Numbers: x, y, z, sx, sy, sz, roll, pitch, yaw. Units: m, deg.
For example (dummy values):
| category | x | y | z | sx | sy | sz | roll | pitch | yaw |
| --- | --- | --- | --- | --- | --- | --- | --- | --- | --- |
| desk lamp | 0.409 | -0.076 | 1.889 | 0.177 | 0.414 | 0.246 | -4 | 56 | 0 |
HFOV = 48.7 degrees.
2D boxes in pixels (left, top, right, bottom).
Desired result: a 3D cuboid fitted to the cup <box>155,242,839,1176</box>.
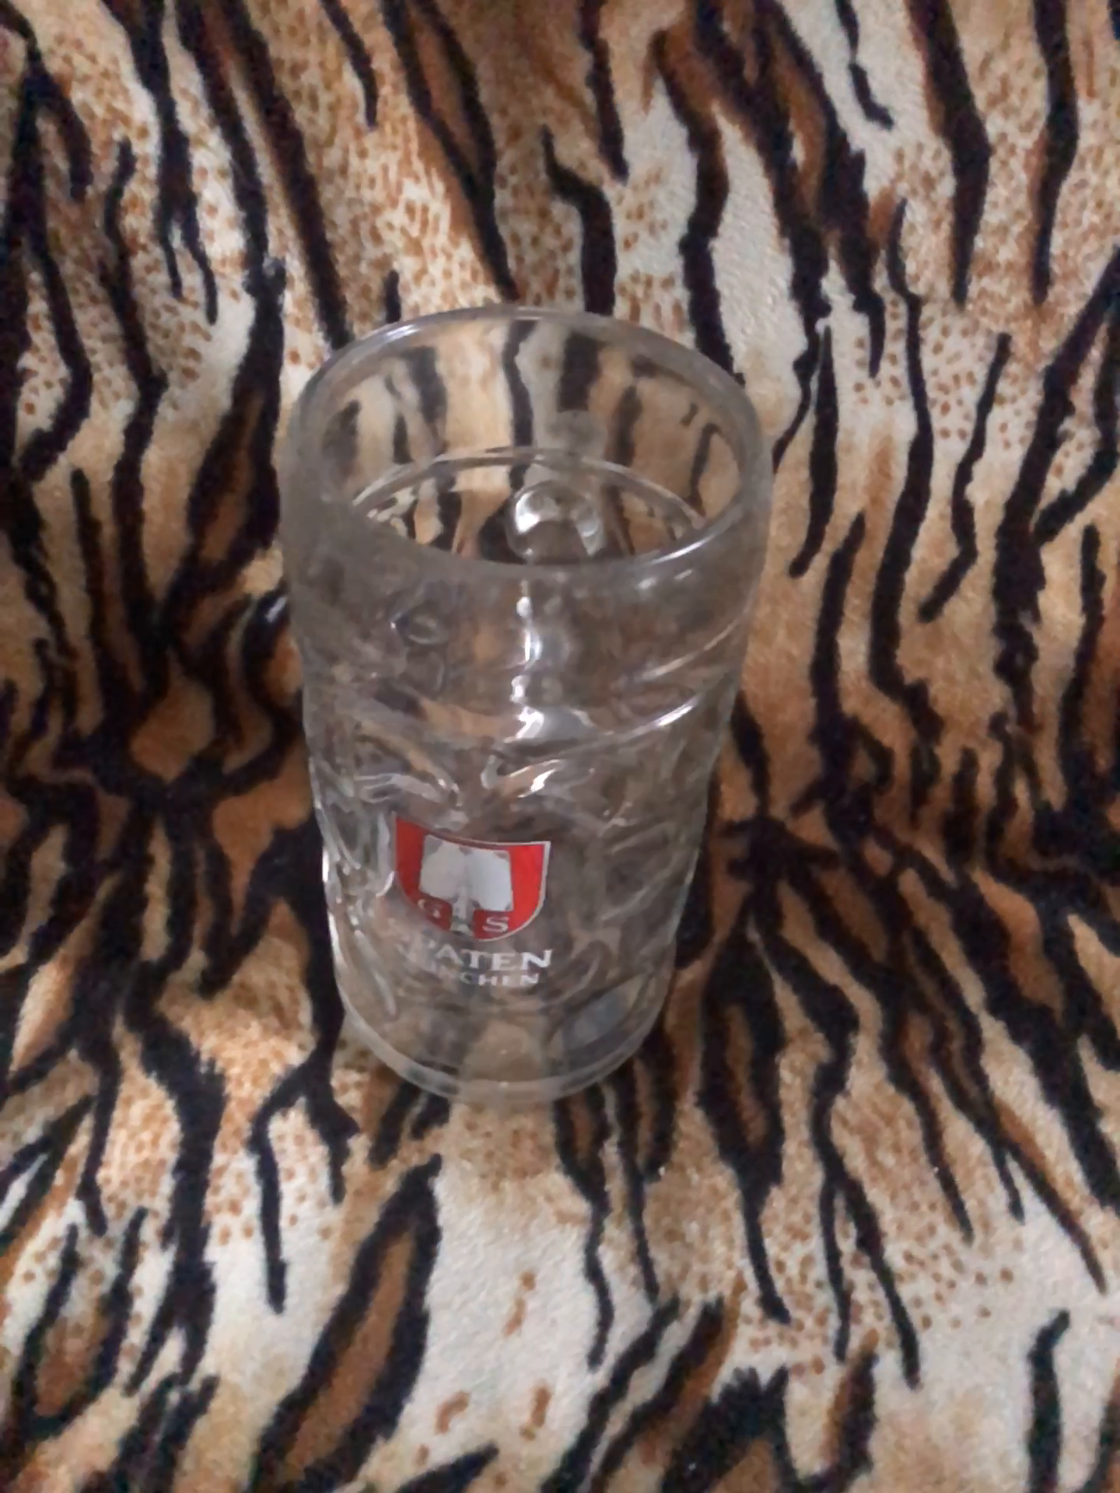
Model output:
| category | x | y | z | sx | sy | sz | roll | pitch | yaw |
| --- | --- | --- | --- | --- | --- | --- | --- | --- | --- |
| cup | -0.004 | -0.010 | 0.348 | 0.120 | 0.194 | 0.150 | 10 | 43 | 9 |
